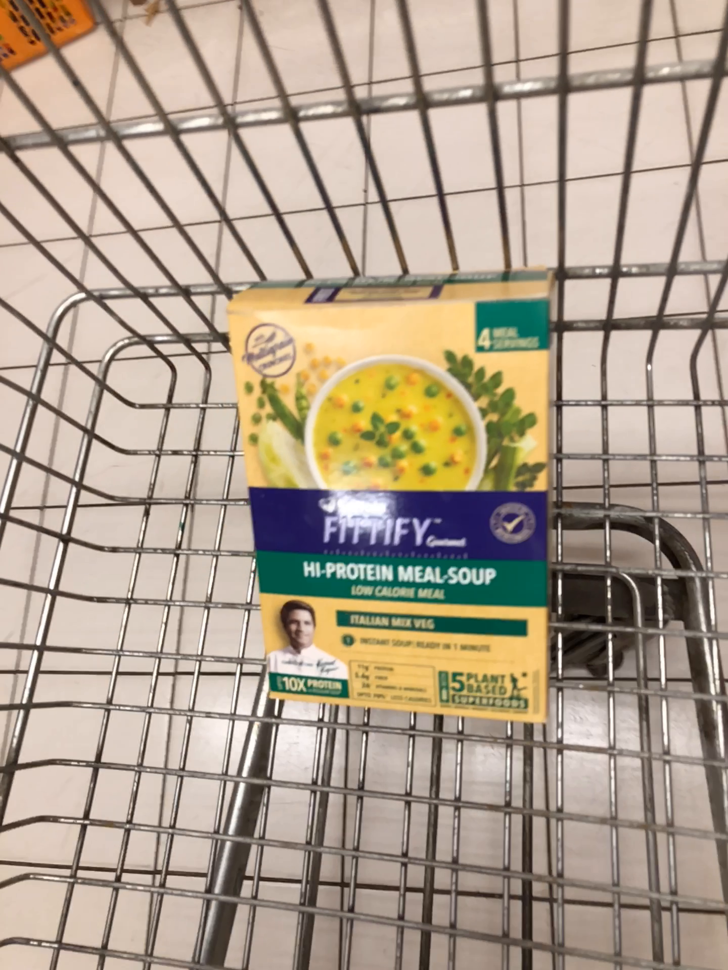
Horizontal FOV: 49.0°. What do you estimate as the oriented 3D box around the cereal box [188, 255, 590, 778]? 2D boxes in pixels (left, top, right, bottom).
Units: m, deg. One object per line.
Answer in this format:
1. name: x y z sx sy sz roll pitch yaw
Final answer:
1. cereal box: 0.019 0.006 0.321 0.130 0.090 0.180 1 107 14
